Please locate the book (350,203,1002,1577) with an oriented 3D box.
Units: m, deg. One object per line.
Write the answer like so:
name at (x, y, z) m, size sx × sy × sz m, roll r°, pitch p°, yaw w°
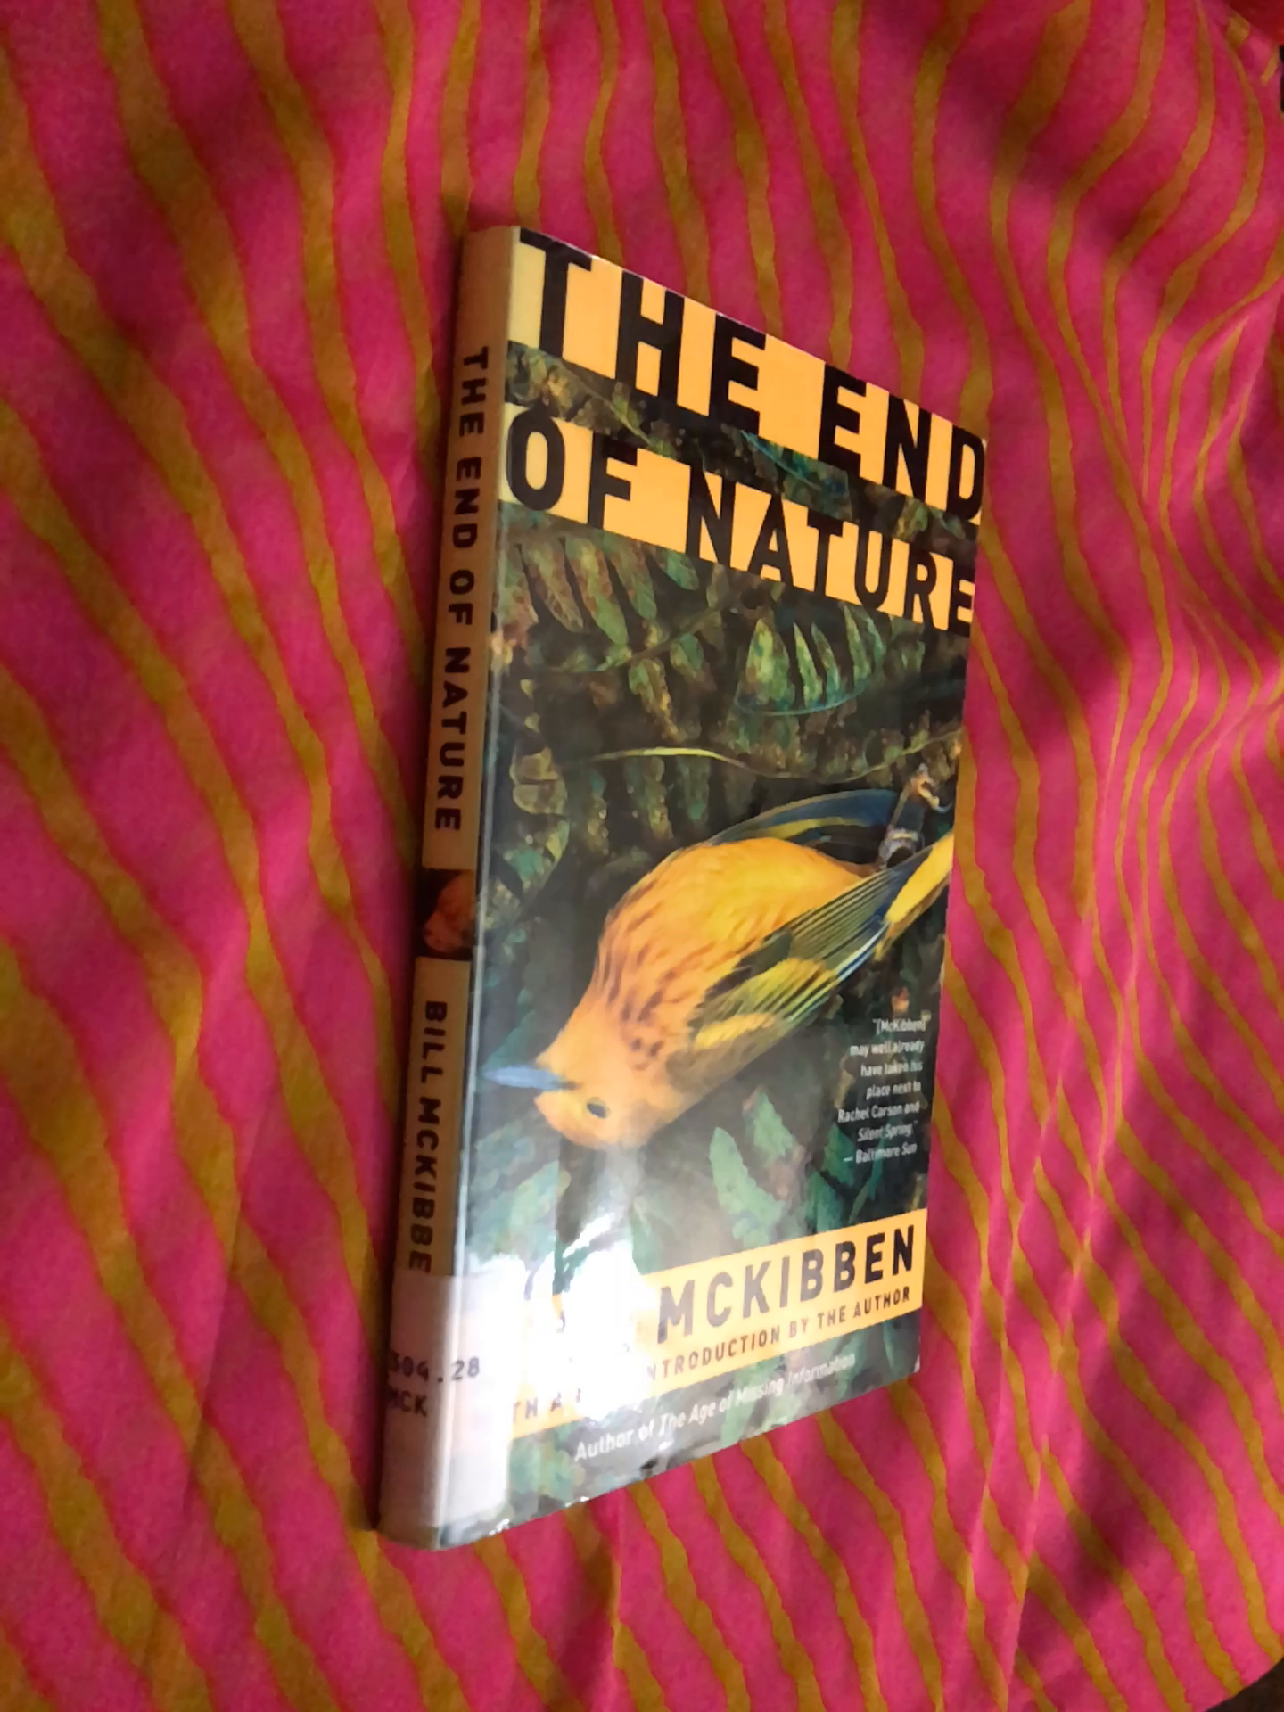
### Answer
book at (0.015, 0.008, 0.257) m, size 0.132 × 0.020 × 0.194 m, roll 4°, pitch 92°, yaw -49°
